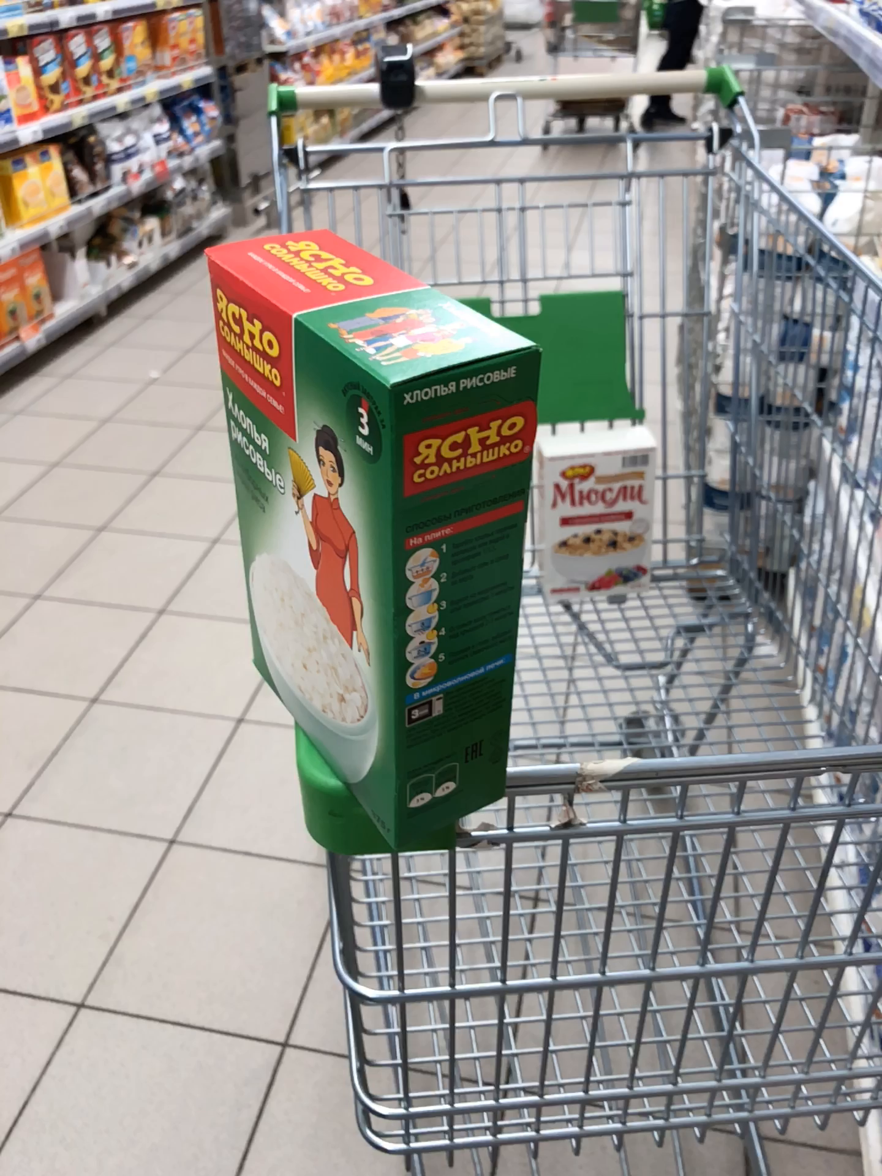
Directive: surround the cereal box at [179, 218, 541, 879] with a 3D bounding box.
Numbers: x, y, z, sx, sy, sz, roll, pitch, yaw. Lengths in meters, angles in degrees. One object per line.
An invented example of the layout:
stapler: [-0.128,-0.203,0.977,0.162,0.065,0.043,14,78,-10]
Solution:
cereal box: [-0.032,-0.016,0.354,0.050,0.189,0.141,-20,40,-26]
